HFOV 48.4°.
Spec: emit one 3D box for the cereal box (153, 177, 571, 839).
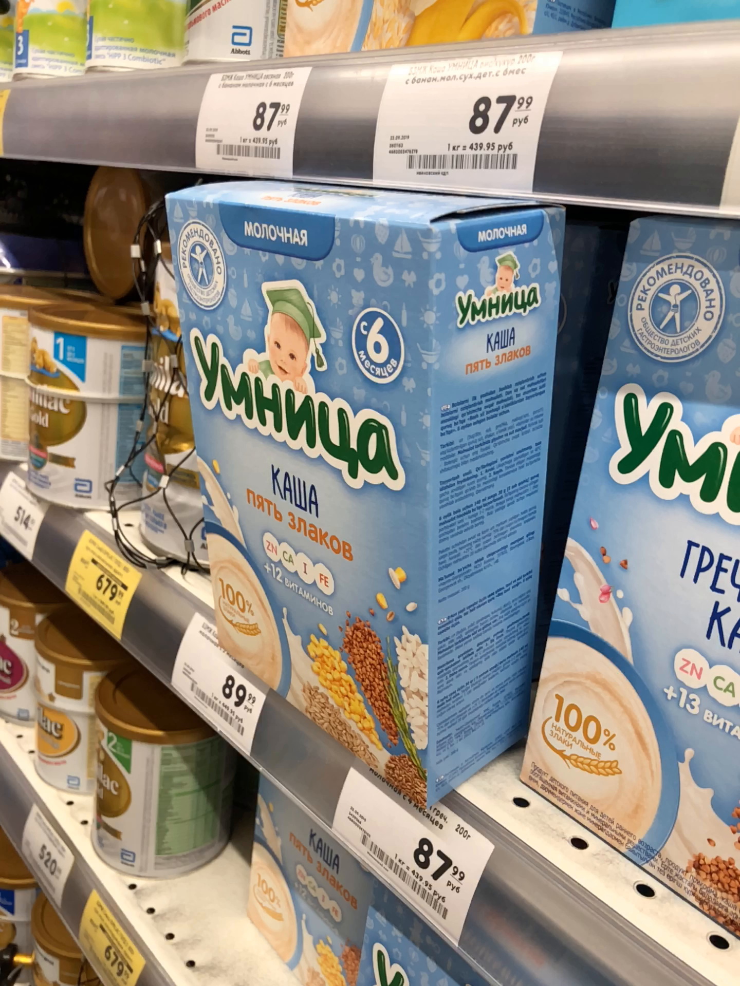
[{"bbox_3d":[-0.006,-0.004,0.311,0.060,0.209,0.140,-22,30,-35],"label":"cereal box"}]
